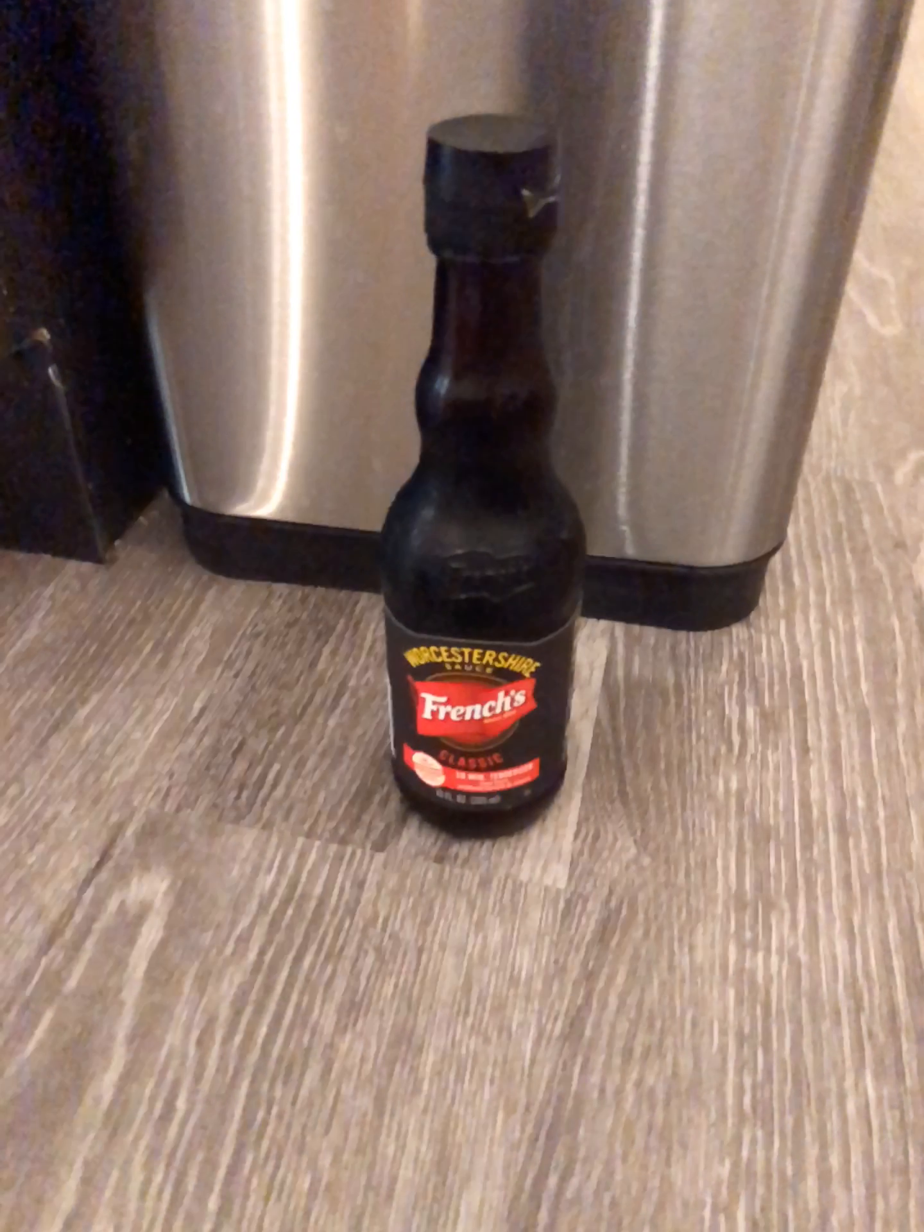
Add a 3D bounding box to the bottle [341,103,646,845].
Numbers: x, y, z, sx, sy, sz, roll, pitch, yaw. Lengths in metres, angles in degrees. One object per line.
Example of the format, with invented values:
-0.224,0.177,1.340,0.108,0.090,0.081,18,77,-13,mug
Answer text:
0.008,-0.026,0.286,0.060,0.199,0.060,0,39,0,bottle
